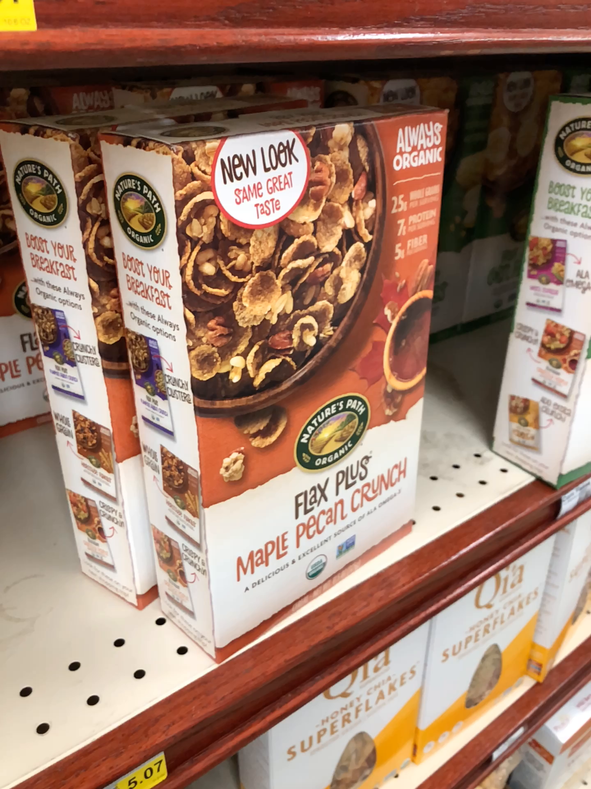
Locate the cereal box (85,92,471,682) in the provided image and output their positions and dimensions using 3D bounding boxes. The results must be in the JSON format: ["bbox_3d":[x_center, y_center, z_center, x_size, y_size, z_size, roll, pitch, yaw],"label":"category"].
[{"bbox_3d":[0.002,-0.006,0.338,0.160,0.259,0.060,-23,36,-35],"label":"cereal box"}]
